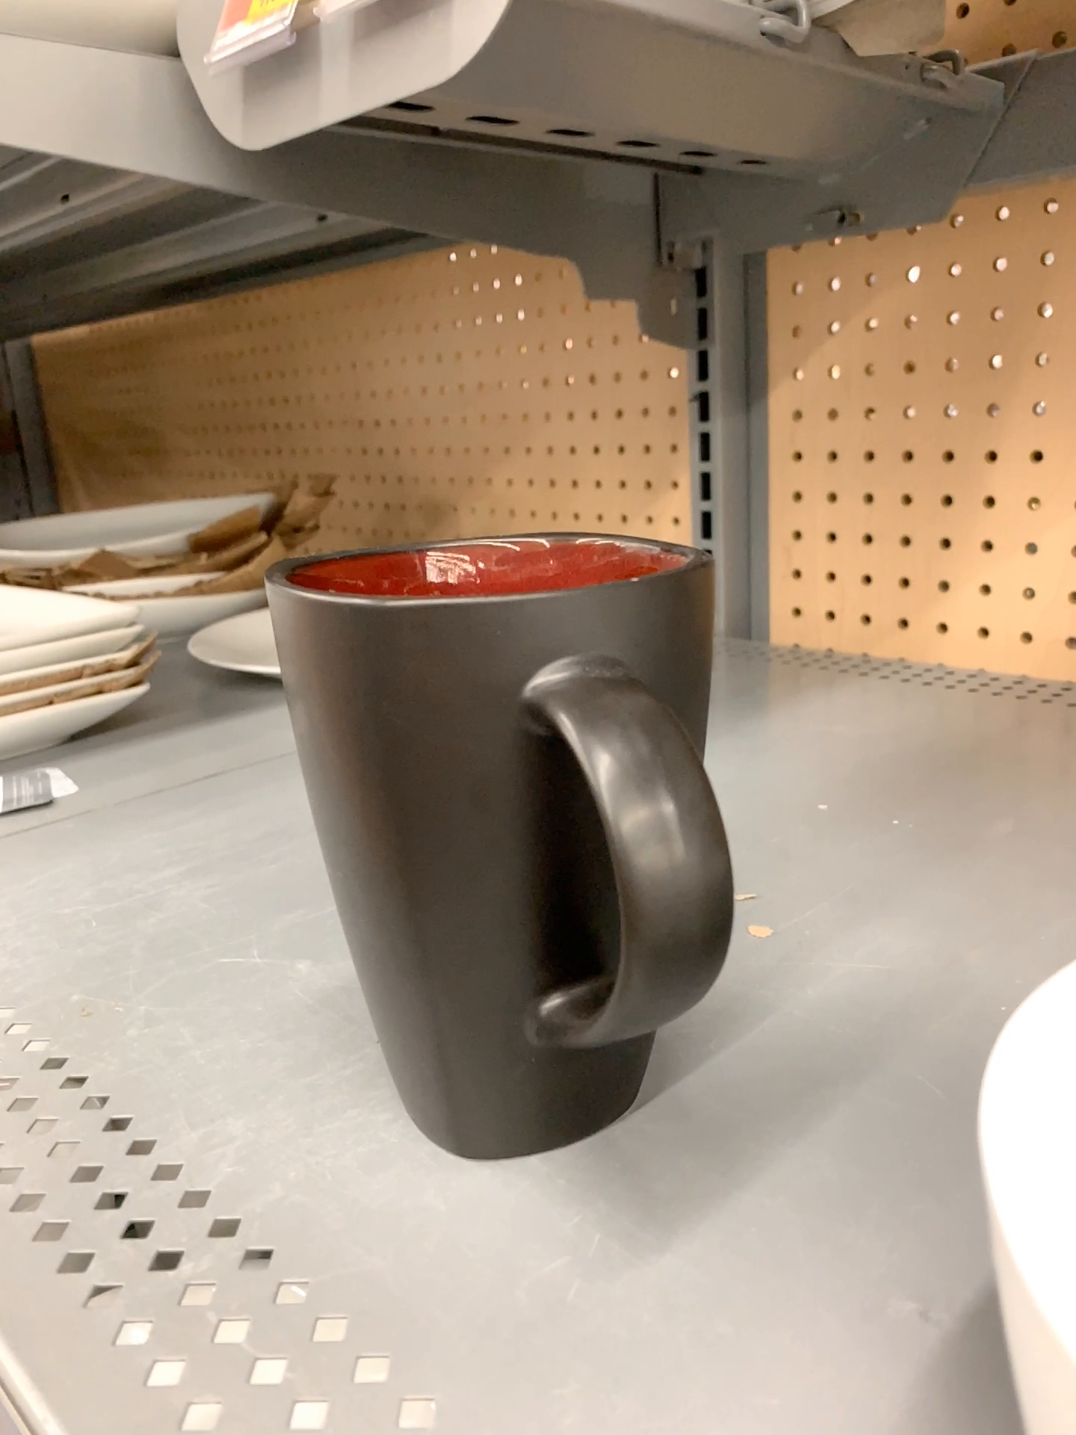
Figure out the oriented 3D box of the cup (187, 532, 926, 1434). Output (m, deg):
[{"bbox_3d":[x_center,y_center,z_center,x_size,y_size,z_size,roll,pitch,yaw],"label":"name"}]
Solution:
[{"bbox_3d":[-0.003,0.035,0.237,0.090,0.130,0.130,-12,18,-29],"label":"cup"}]
